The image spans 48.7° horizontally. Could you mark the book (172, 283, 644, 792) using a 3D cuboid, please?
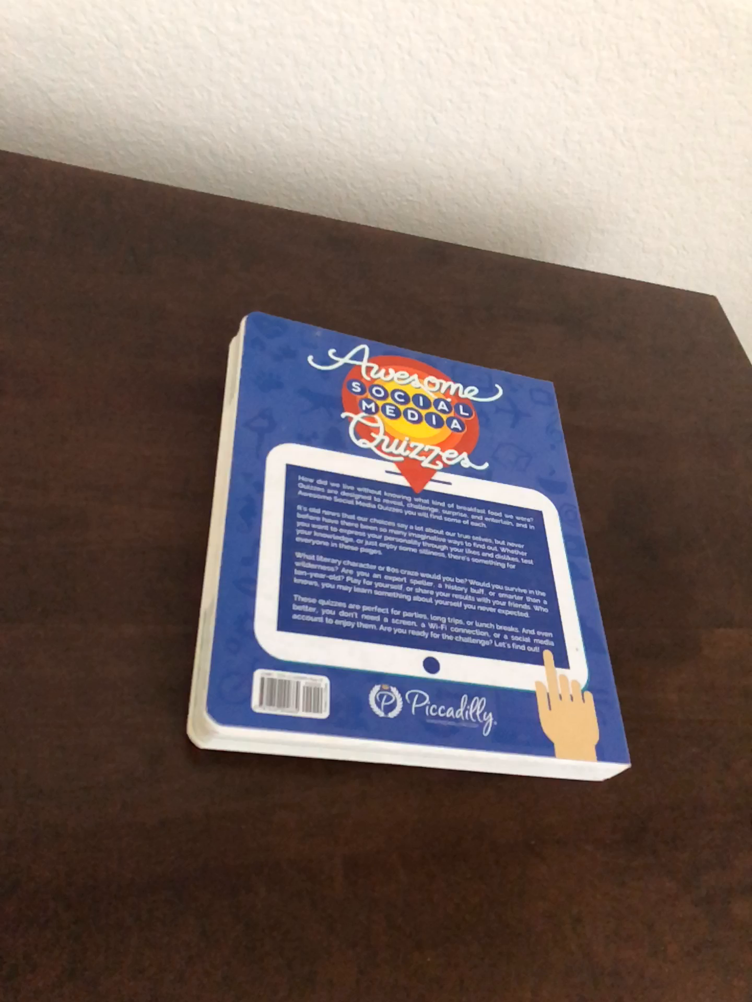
[{"bbox_3d":[0.013,0.009,0.364,0.173,0.030,0.215,10,53,-17],"label":"book"}]
